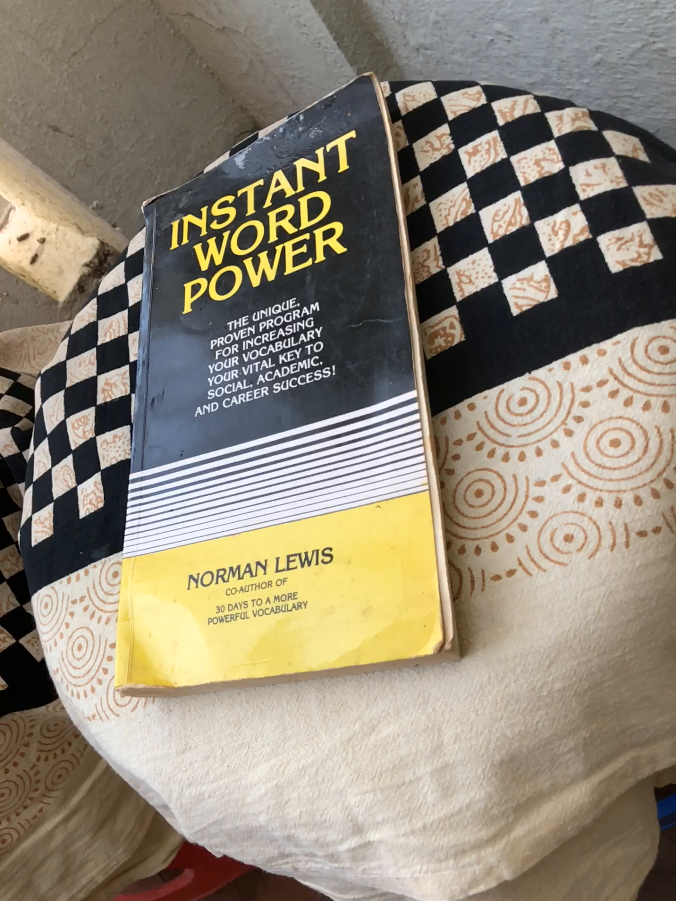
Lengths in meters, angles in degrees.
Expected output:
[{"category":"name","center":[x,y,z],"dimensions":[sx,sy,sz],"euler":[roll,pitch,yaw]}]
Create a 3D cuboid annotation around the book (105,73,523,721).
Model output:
[{"category":"book","center":[-0.018,-0.040,0.363],"dimensions":[0.160,0.040,0.300],"euler":[-18,54,24]}]
